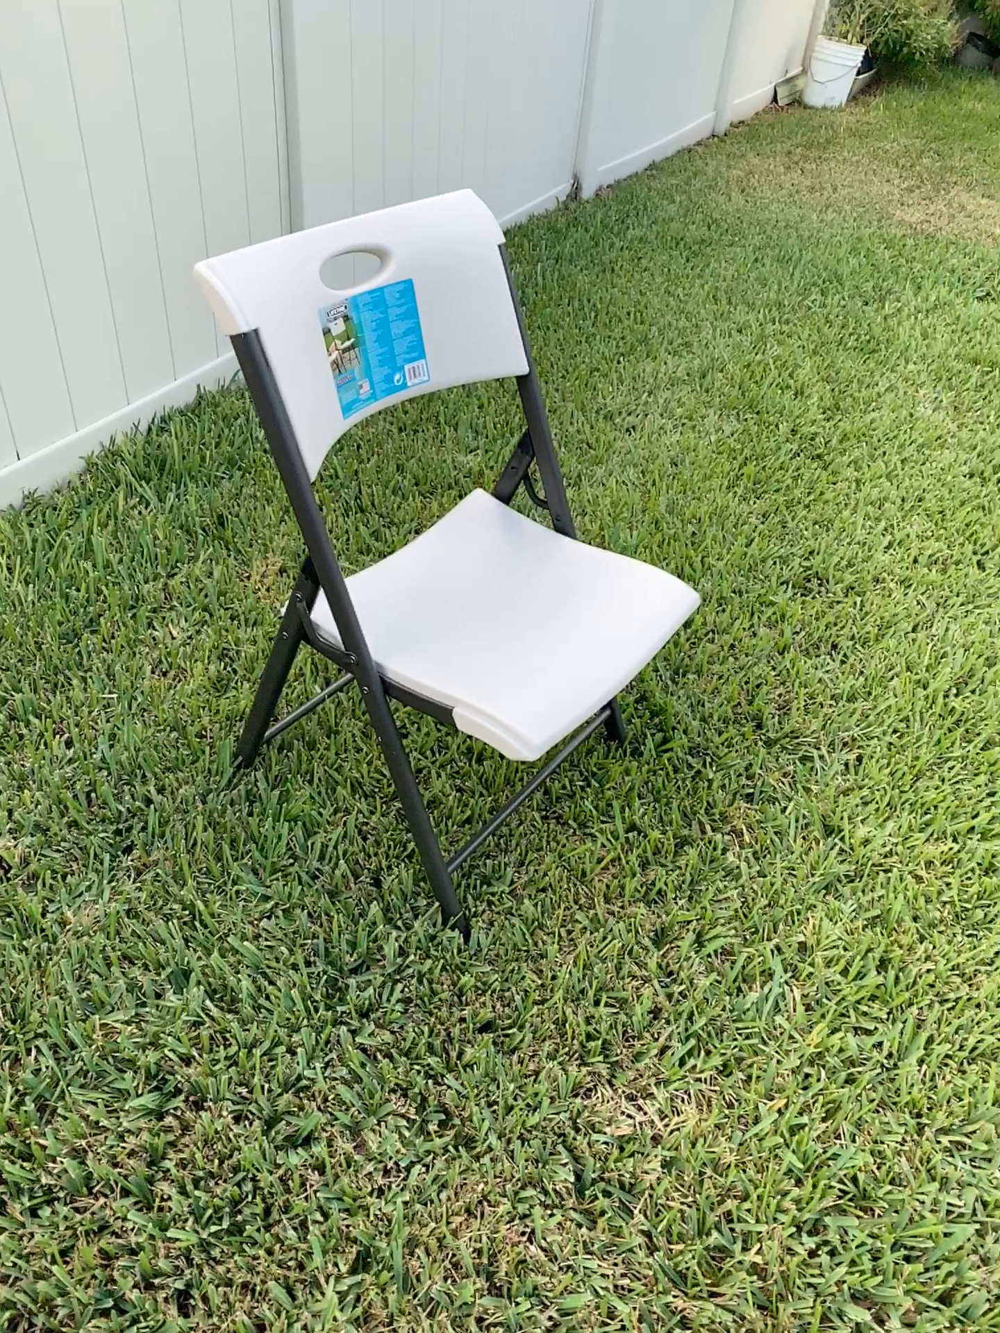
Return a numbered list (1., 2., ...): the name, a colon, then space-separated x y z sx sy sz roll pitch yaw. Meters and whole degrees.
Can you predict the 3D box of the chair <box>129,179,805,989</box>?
1. chair: -0.041 -0.128 1.323 0.516 0.765 0.522 27 43 25
